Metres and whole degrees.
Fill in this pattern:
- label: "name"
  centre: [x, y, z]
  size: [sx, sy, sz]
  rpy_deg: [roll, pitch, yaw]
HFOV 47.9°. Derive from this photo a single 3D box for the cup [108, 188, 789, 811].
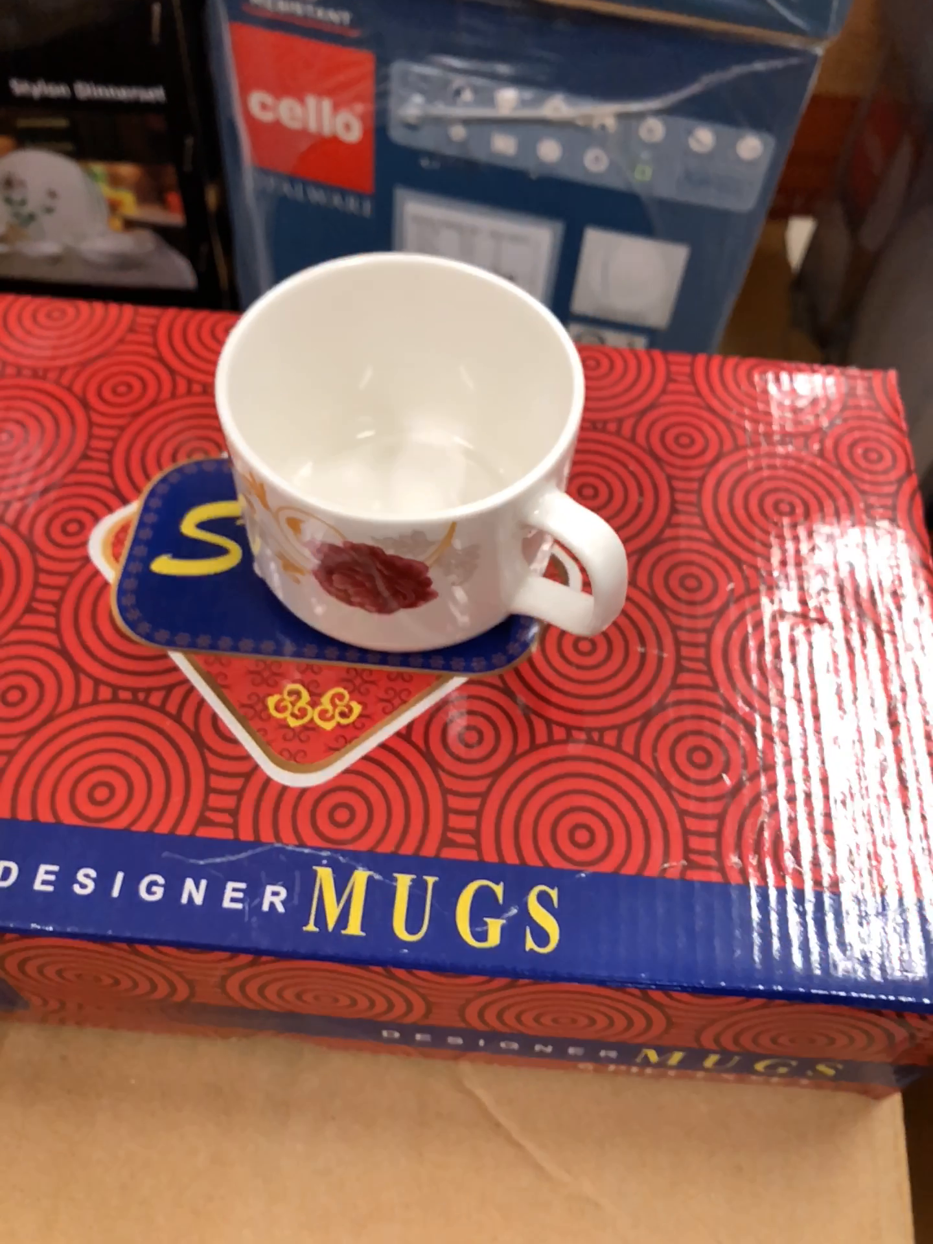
- label: "cup"
  centre: [-0.004, -0.030, 0.218]
  size: [0.100, 0.050, 0.080]
  rpy_deg: [35, 60, 17]
